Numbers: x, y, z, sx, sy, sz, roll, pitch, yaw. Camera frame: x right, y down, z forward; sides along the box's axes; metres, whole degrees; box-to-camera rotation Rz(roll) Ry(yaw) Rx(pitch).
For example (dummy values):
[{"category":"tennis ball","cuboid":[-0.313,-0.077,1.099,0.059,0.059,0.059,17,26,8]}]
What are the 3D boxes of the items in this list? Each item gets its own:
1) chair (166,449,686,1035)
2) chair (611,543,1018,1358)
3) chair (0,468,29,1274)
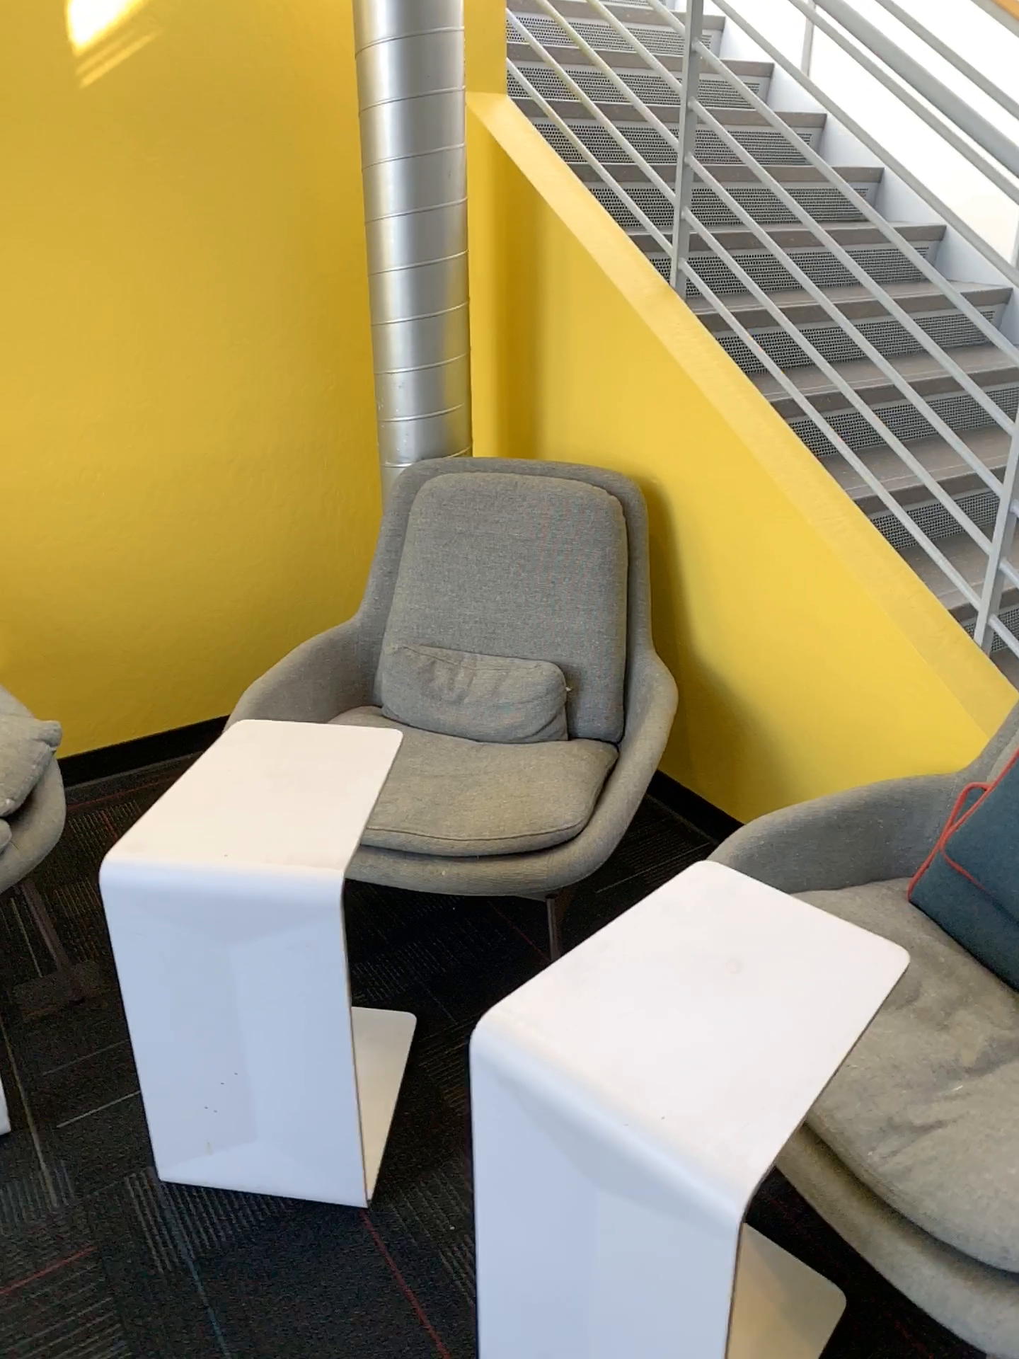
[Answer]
[{"category":"chair","cuboid":[-0.108,0.060,2.421,0.891,1.015,0.843,5,22,14]},{"category":"chair","cuboid":[0.779,0.398,1.560,0.880,0.945,0.875,-7,24,-21]},{"category":"chair","cuboid":[-1.519,0.199,1.870,0.801,0.925,0.873,-20,28,-37]}]
